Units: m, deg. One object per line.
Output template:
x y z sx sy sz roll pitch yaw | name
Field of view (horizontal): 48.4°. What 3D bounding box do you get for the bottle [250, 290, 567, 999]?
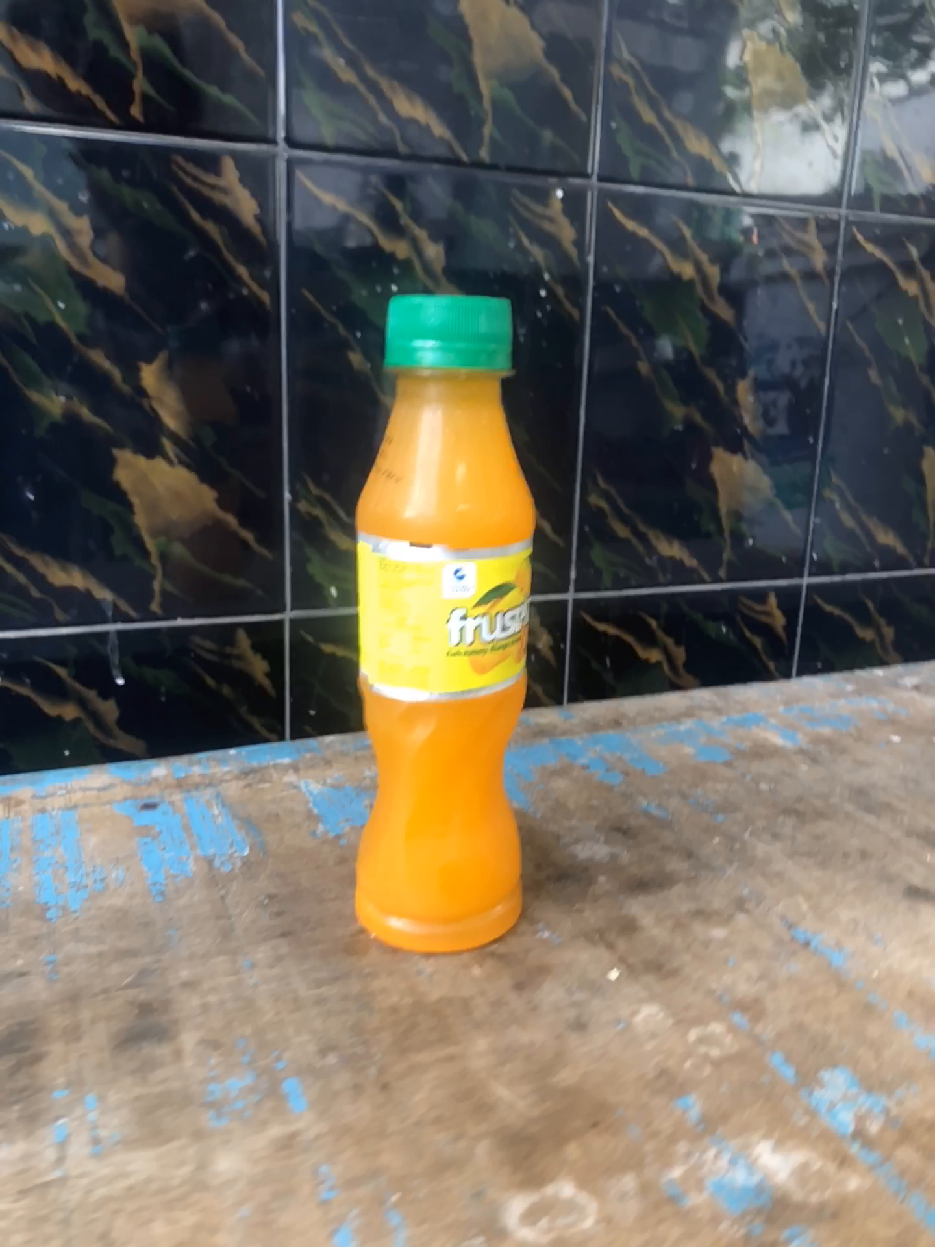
-0.016 0.002 0.277 0.050 0.169 0.060 15 19 41 | bottle
